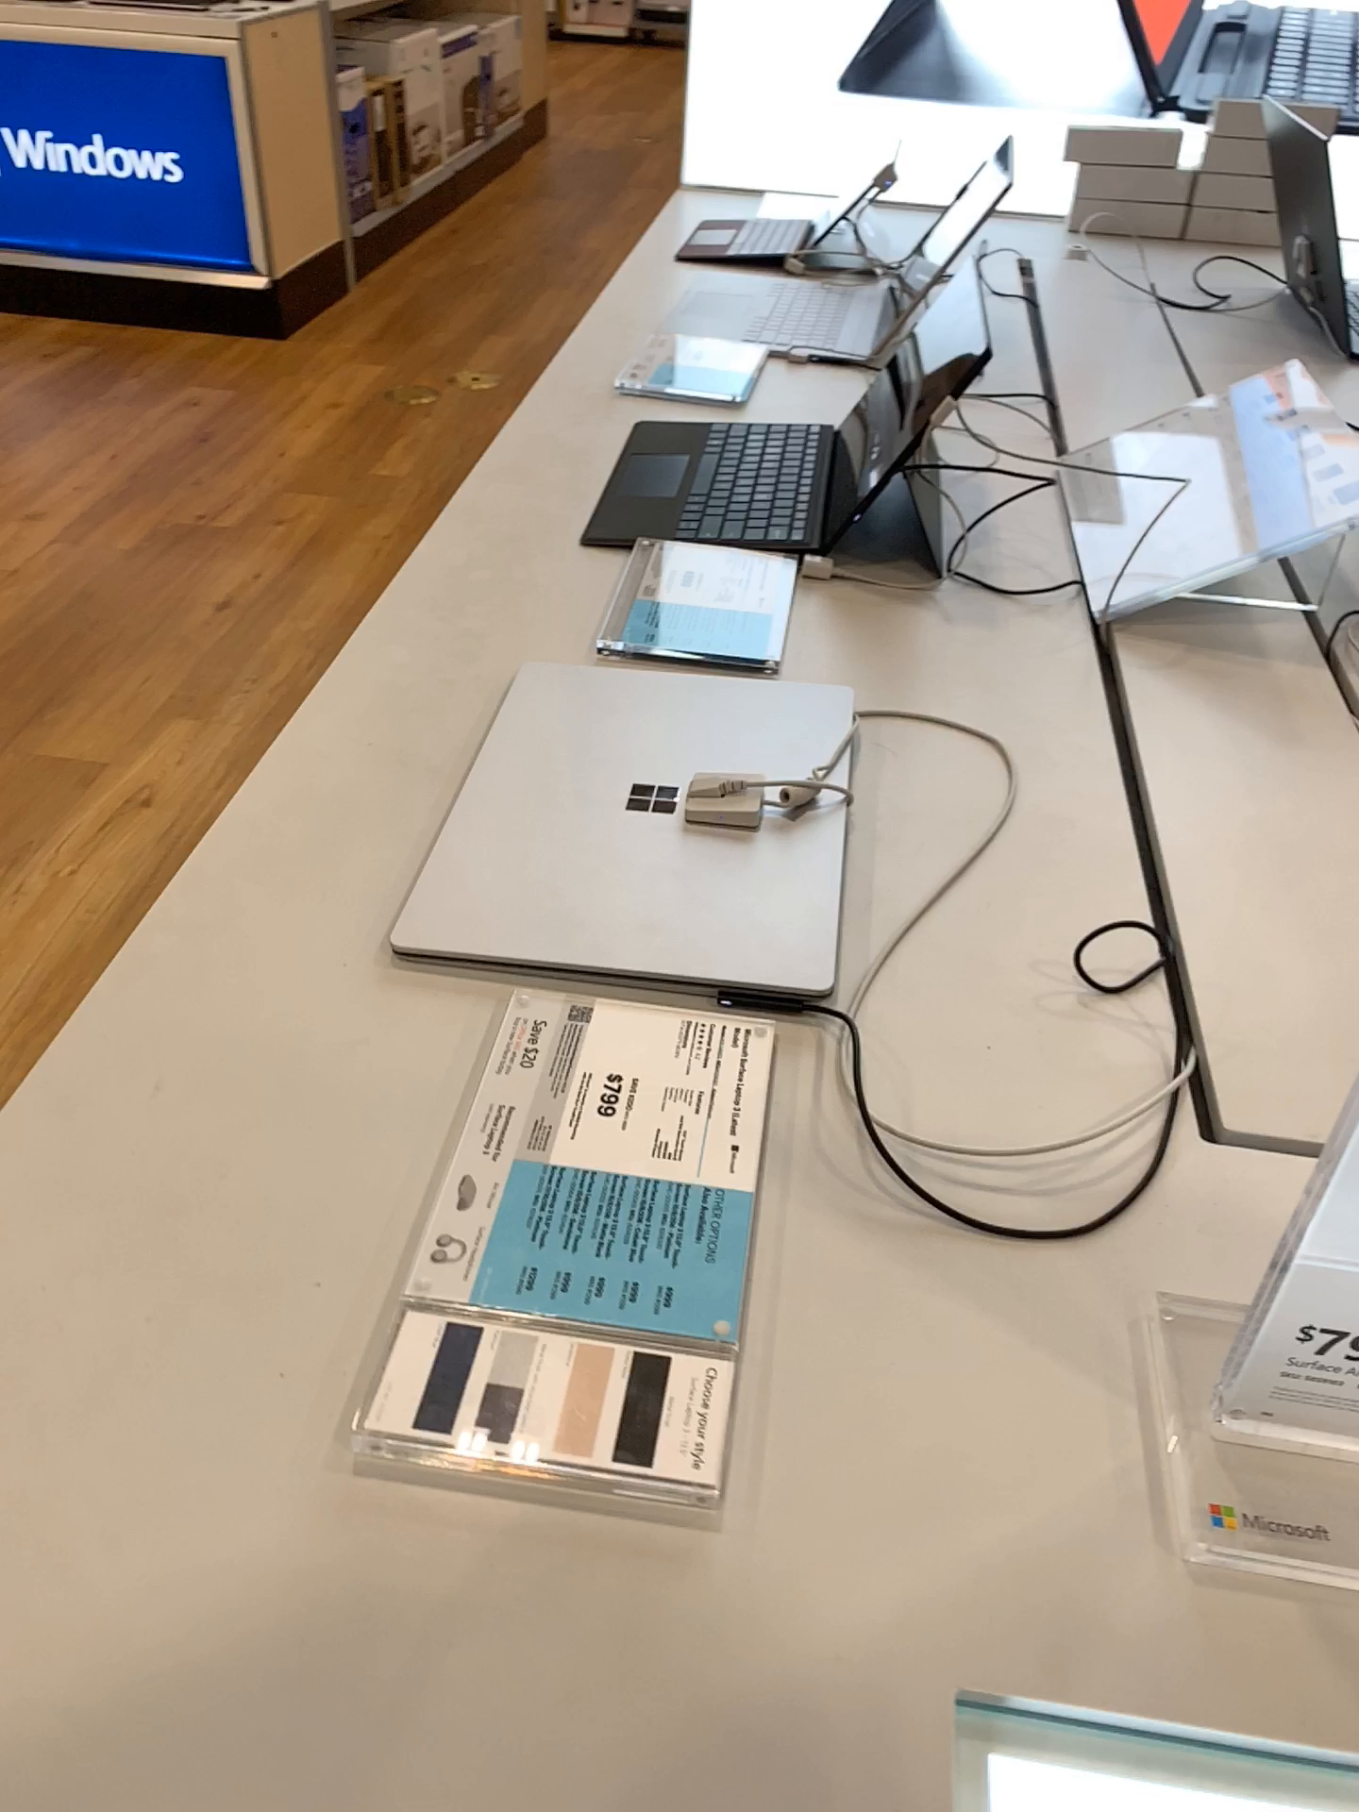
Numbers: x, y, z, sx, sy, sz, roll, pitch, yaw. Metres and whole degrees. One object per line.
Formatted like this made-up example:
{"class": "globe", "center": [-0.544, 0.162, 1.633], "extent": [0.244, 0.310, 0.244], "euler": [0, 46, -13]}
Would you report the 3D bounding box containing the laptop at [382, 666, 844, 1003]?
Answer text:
{"class": "laptop", "center": [-0.021, -0.057, 0.809], "extent": [0.220, 0.008, 0.298], "euler": [5, 38, 6]}
